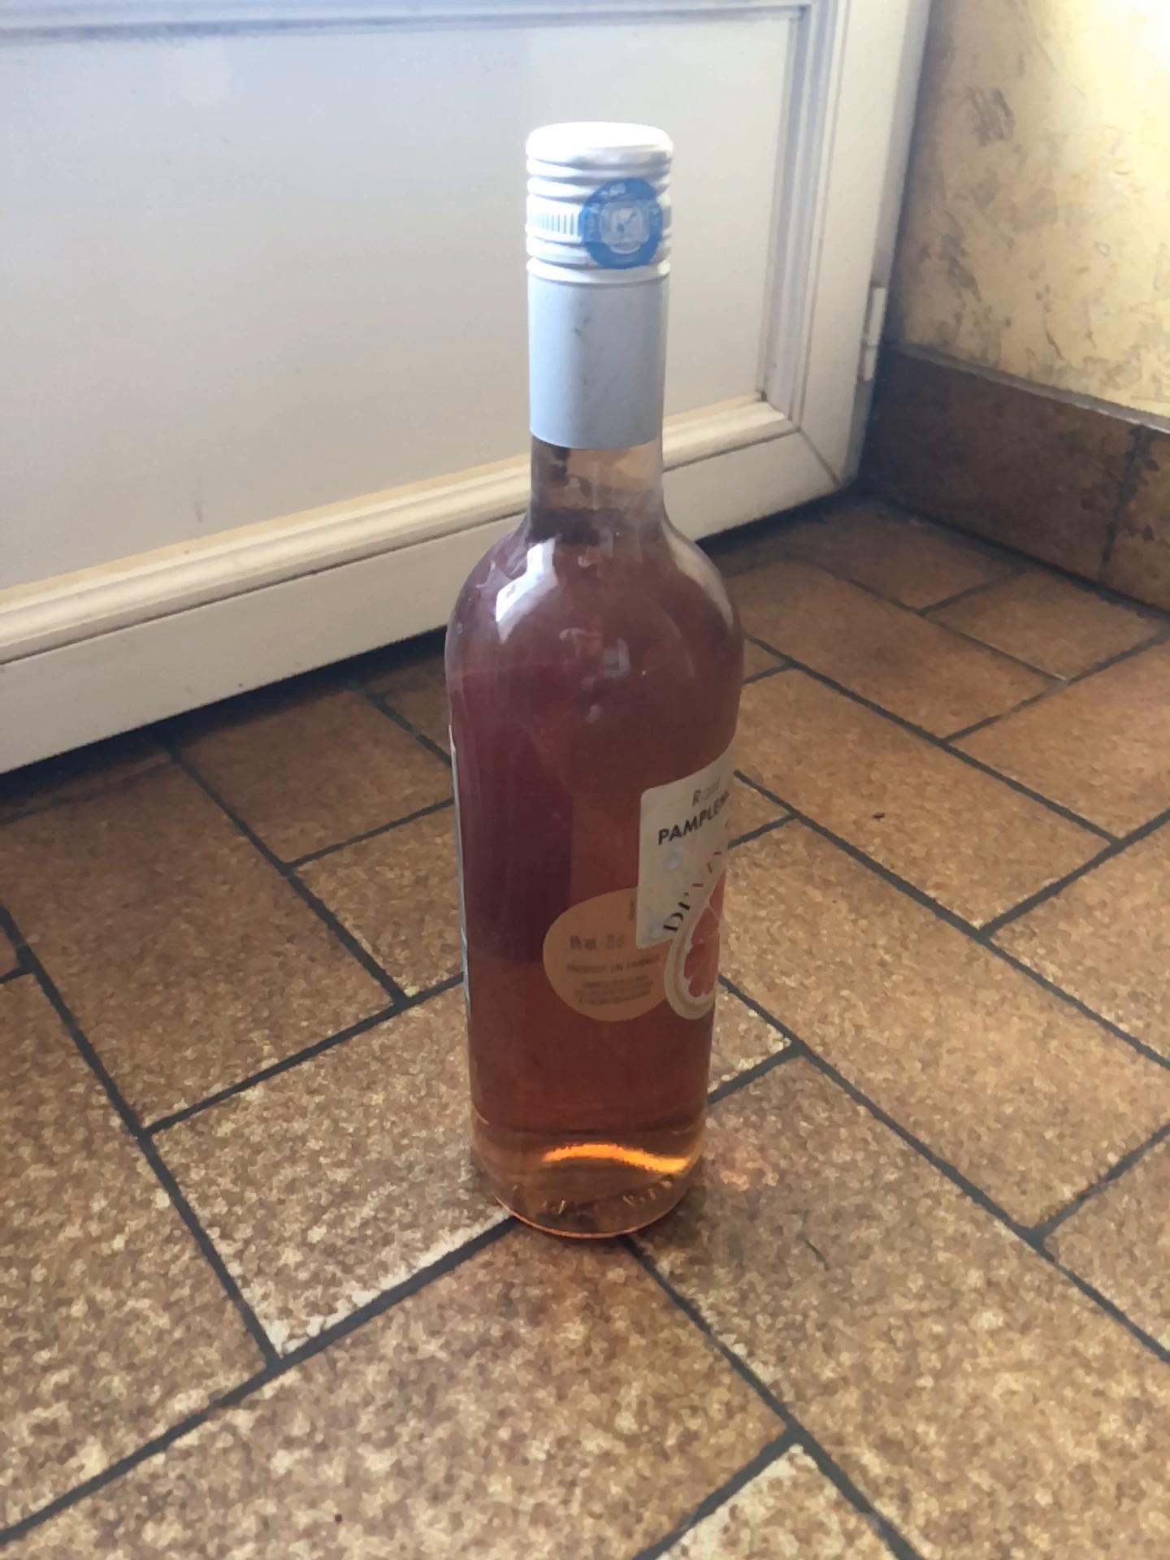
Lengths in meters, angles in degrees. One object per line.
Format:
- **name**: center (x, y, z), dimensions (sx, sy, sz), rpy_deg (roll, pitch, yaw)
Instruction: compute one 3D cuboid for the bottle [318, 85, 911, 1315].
- **bottle**: center (0.005, -0.004, 0.322), dimensions (0.080, 0.288, 0.080), rpy_deg (1, 34, -1)
